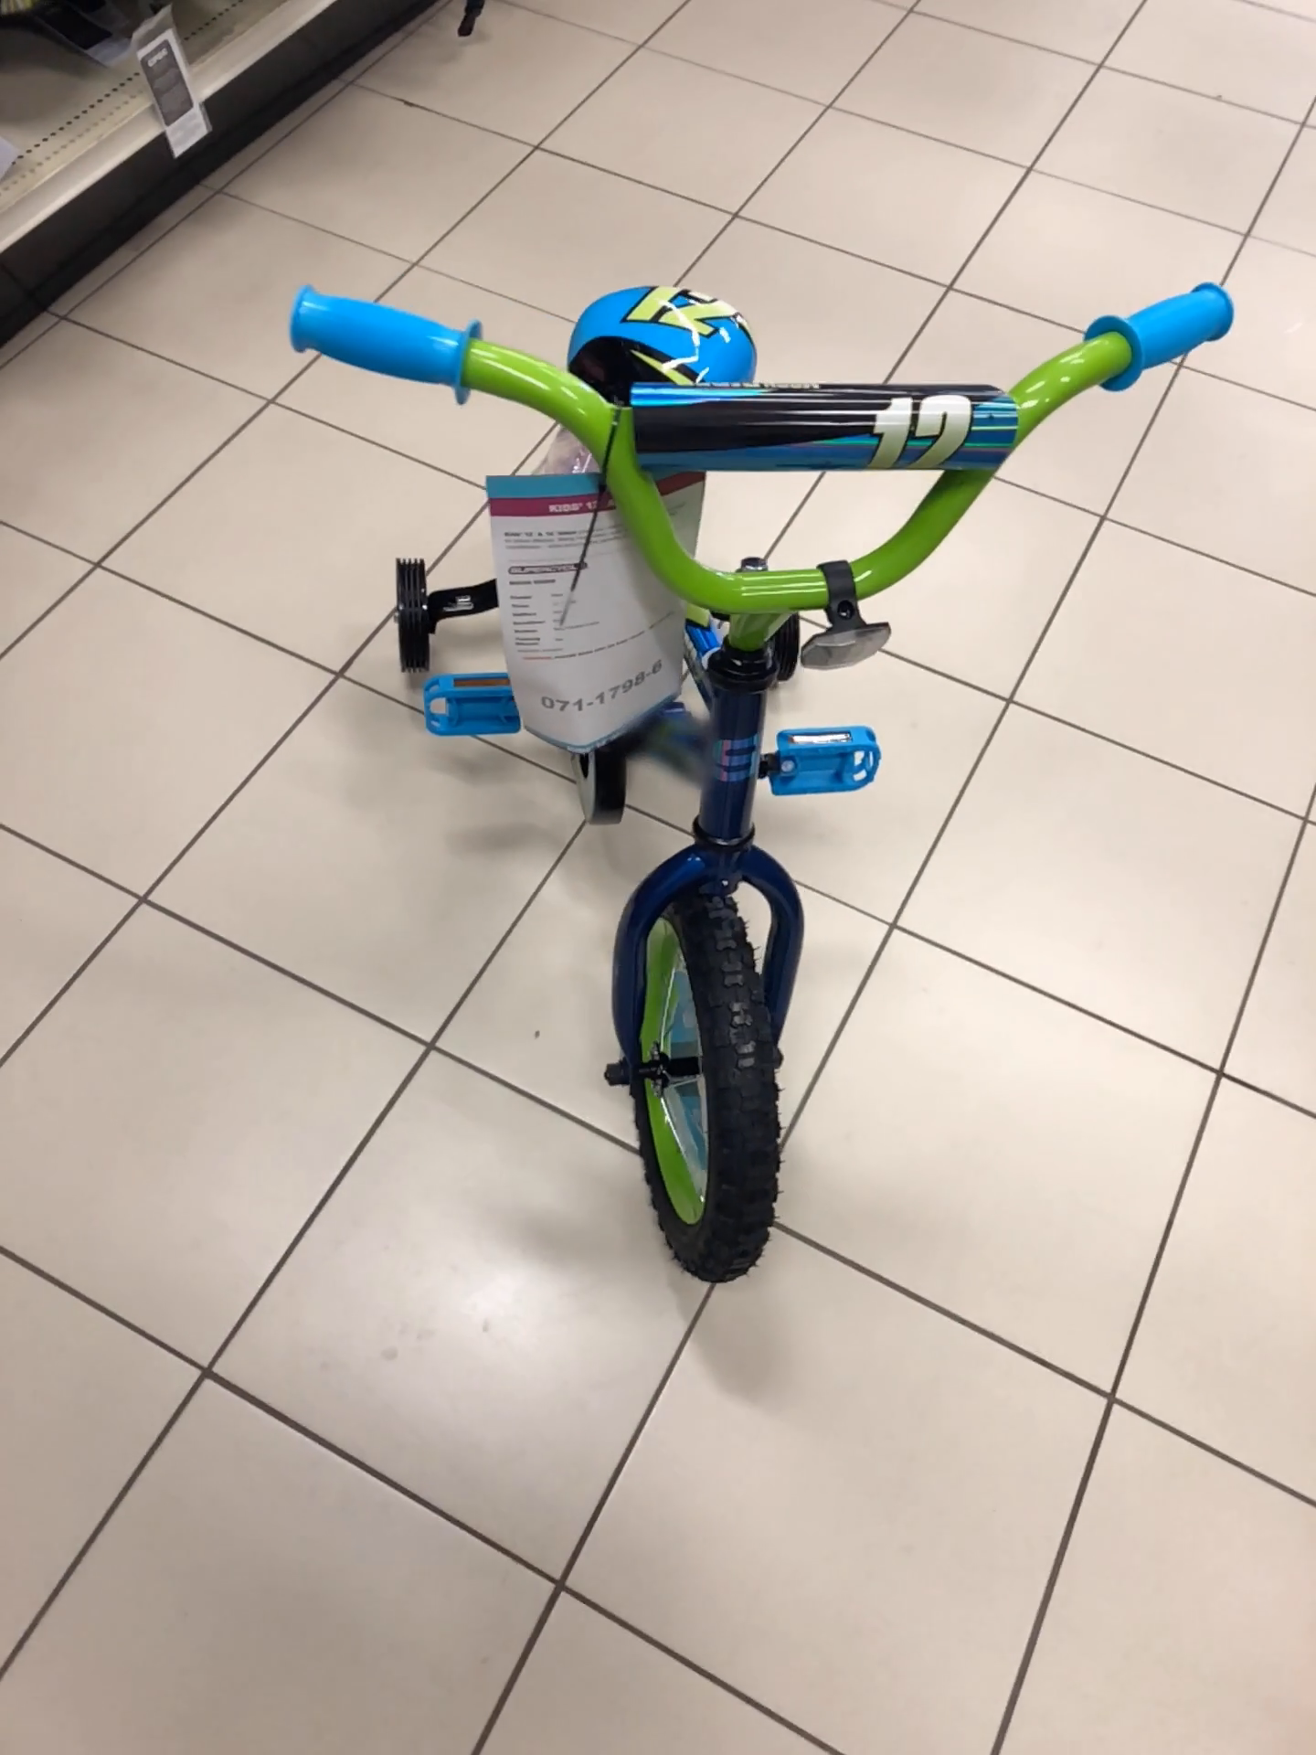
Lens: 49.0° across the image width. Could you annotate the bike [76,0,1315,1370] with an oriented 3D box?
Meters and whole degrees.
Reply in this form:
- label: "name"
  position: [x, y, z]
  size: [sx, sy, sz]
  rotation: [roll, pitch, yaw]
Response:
- label: "bike"
  position: [0.009, -0.189, 1.021]
  size: [0.548, 0.675, 0.797]
  rotation: [-6, 58, -6]
